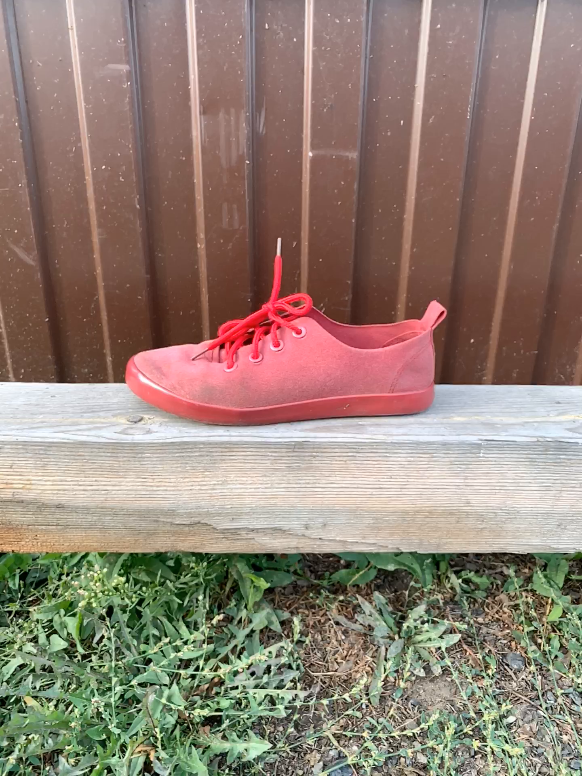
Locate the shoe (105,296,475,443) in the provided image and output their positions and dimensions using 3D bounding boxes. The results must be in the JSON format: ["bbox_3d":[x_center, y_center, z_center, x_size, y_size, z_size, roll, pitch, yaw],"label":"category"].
[{"bbox_3d":[-0.003,-0.020,0.445,0.240,0.069,0.101,-2,21,-7],"label":"shoe"}]
